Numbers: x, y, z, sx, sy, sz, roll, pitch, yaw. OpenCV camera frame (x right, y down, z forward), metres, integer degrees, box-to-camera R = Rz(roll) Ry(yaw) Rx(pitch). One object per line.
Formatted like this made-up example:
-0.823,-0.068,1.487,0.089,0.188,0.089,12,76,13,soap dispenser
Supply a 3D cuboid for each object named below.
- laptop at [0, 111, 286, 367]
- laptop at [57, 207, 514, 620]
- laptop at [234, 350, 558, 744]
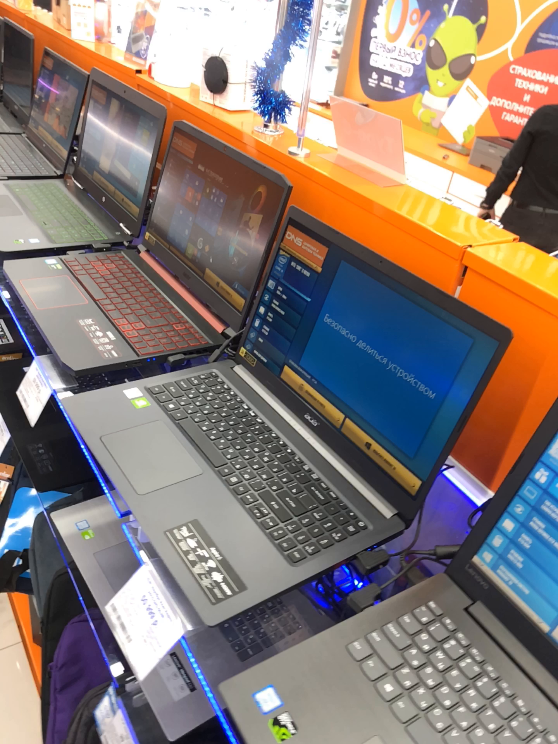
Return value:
-0.215,-0.224,0.924,0.301,0.230,0.310,-16,42,-35,laptop
-0.022,-0.003,0.660,0.303,0.224,0.354,-14,39,-34,laptop
0.201,0.206,0.375,0.323,0.230,0.350,-13,38,-32,laptop
